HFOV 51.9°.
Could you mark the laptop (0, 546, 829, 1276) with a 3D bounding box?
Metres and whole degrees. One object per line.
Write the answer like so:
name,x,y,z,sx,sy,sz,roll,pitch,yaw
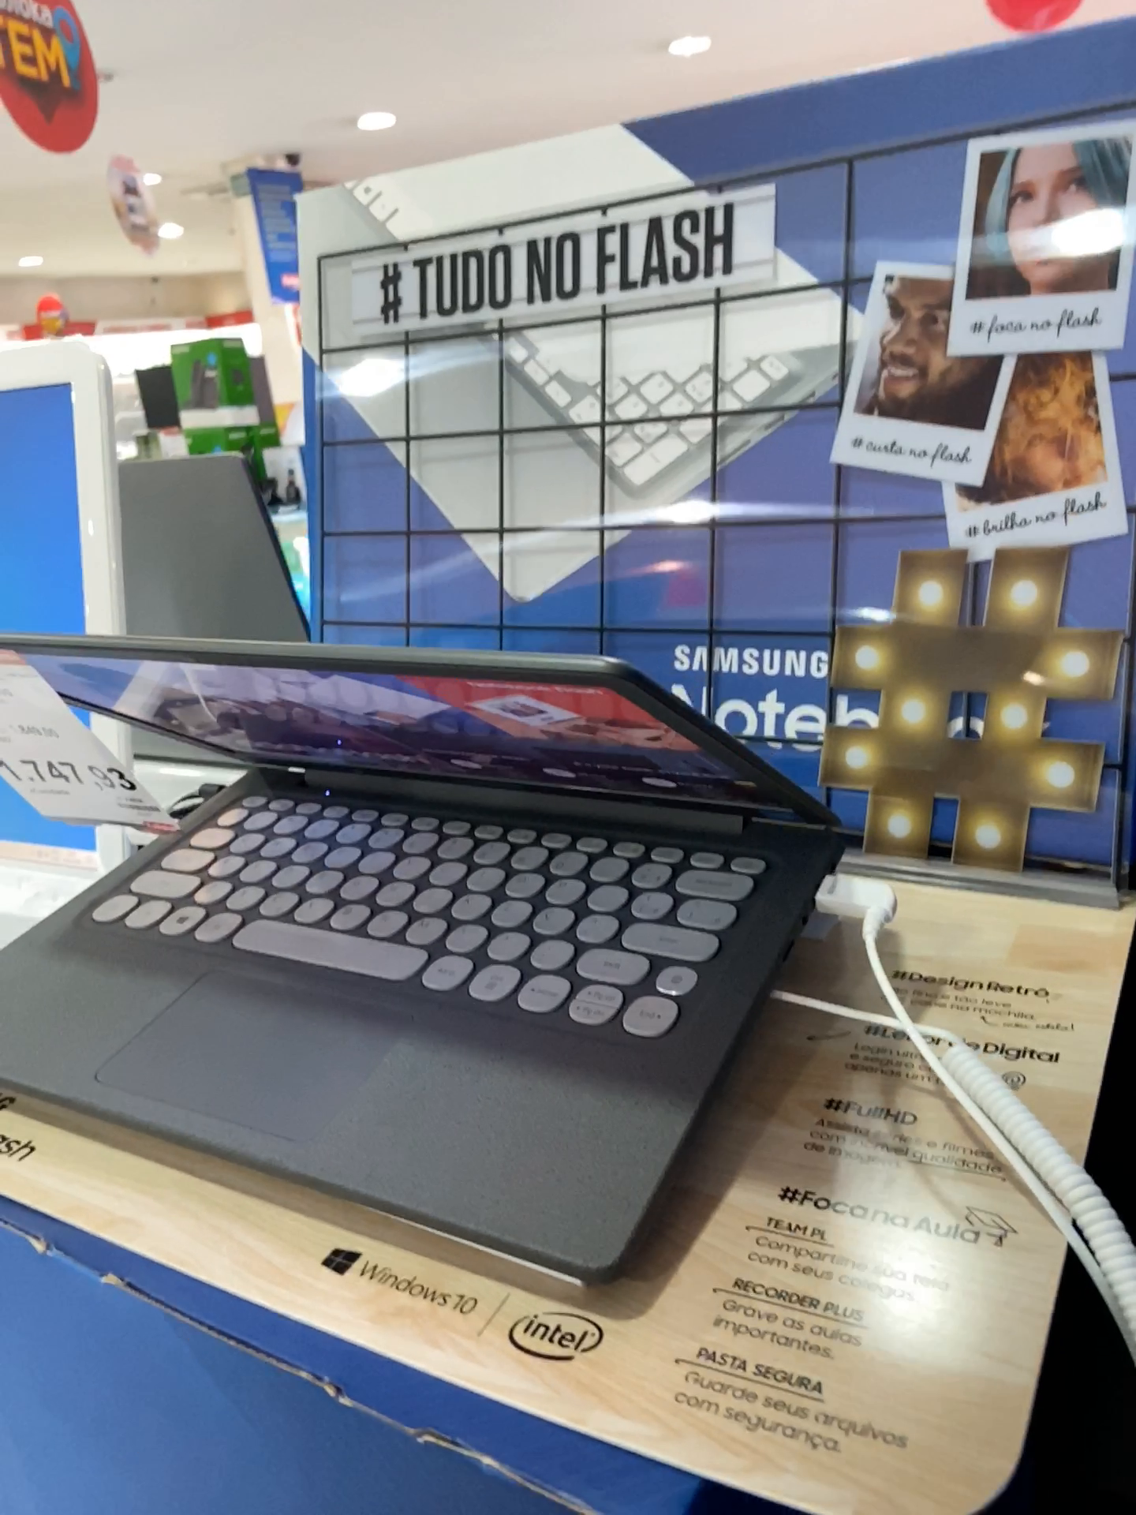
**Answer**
laptop,-0.090,0.019,0.447,0.323,0.114,0.211,4,29,30
